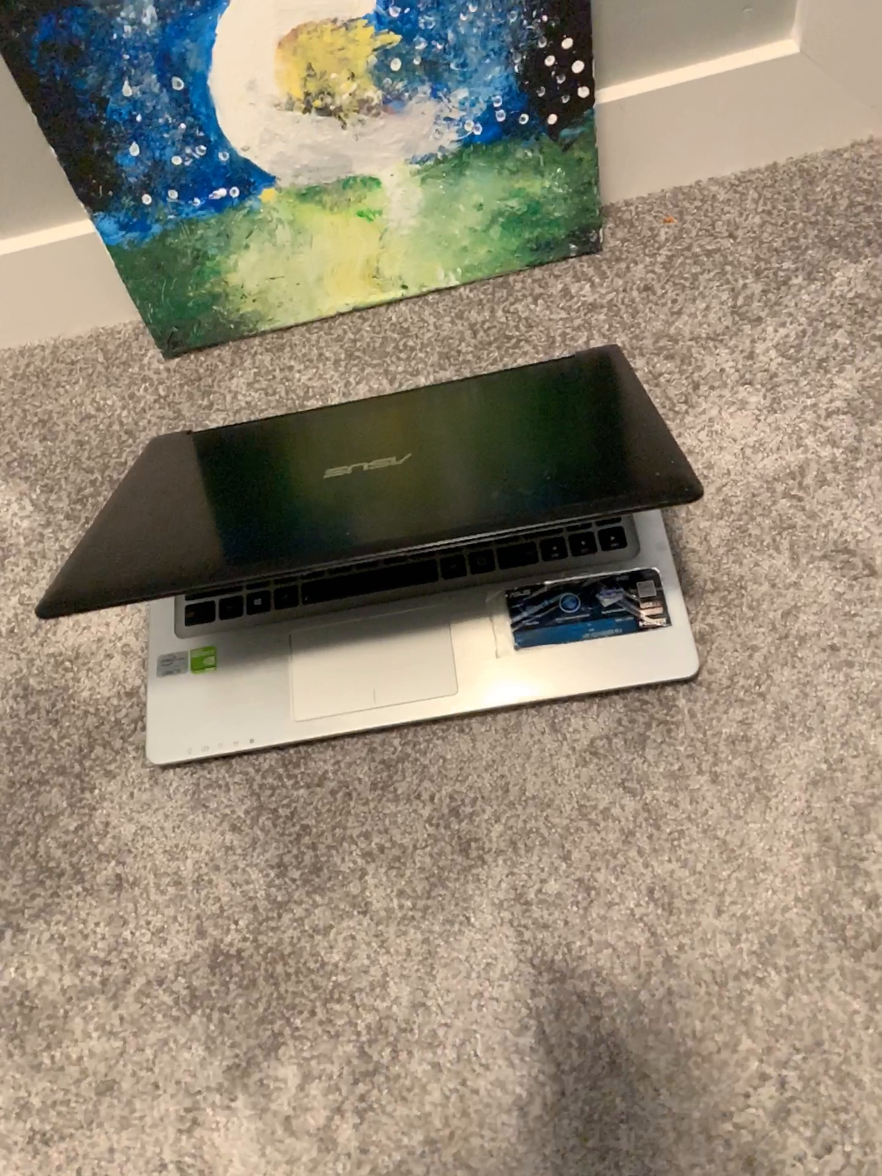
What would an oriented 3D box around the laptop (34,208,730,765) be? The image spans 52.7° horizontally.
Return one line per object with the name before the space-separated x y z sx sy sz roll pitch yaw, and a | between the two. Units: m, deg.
laptop | -0.042 -0.057 0.557 0.354 0.134 0.253 -10 64 5
